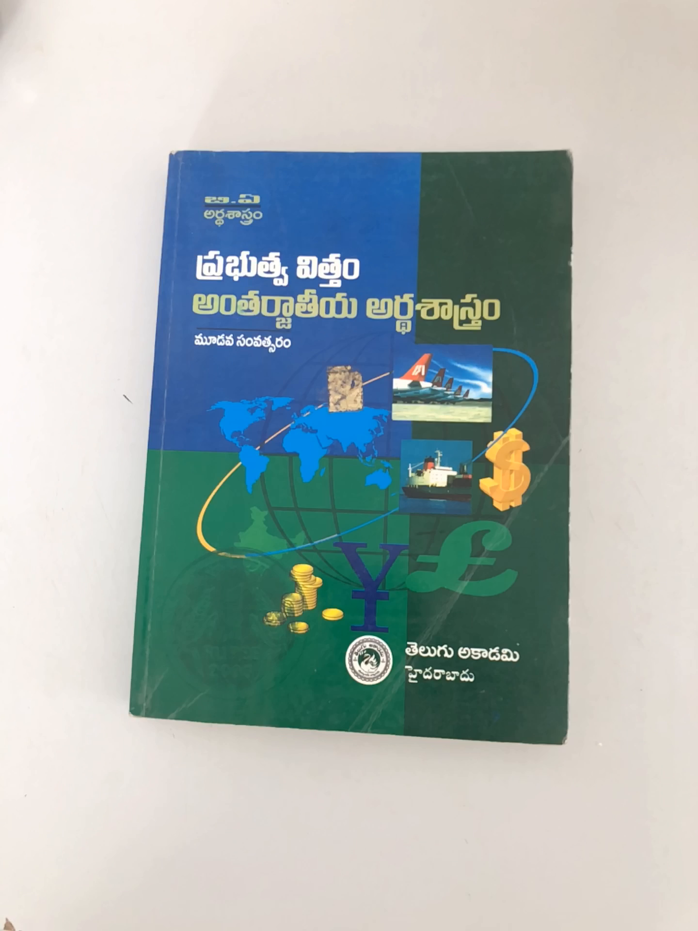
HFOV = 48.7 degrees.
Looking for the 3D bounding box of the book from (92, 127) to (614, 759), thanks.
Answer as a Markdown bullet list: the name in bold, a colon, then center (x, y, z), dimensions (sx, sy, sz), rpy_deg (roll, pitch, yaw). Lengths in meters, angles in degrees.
- **book**: center (0.006, -0.015, 0.321), dimensions (0.190, 0.050, 0.240), rpy_deg (2, 82, 4)
